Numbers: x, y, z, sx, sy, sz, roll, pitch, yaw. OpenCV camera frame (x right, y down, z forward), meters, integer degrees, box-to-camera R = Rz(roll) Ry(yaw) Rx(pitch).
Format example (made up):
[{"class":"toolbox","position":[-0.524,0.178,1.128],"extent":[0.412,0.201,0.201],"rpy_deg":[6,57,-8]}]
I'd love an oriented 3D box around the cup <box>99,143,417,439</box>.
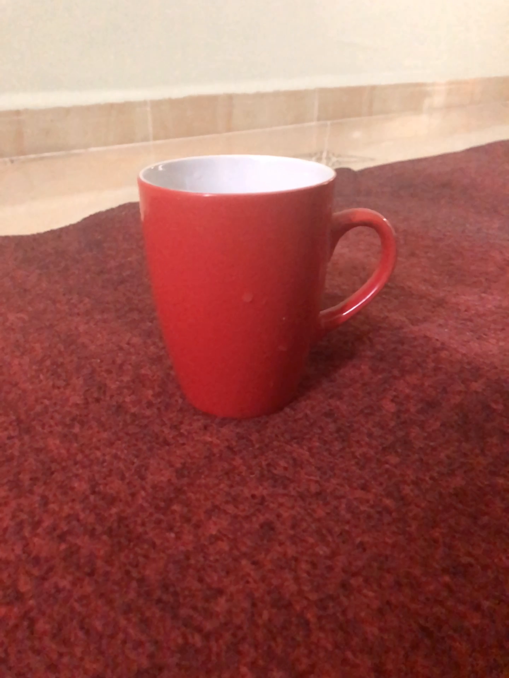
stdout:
[{"class":"cup","position":[0.000,-0.031,0.257],"extent":[0.109,0.094,0.078],"rpy_deg":[-16,31,-27]}]
